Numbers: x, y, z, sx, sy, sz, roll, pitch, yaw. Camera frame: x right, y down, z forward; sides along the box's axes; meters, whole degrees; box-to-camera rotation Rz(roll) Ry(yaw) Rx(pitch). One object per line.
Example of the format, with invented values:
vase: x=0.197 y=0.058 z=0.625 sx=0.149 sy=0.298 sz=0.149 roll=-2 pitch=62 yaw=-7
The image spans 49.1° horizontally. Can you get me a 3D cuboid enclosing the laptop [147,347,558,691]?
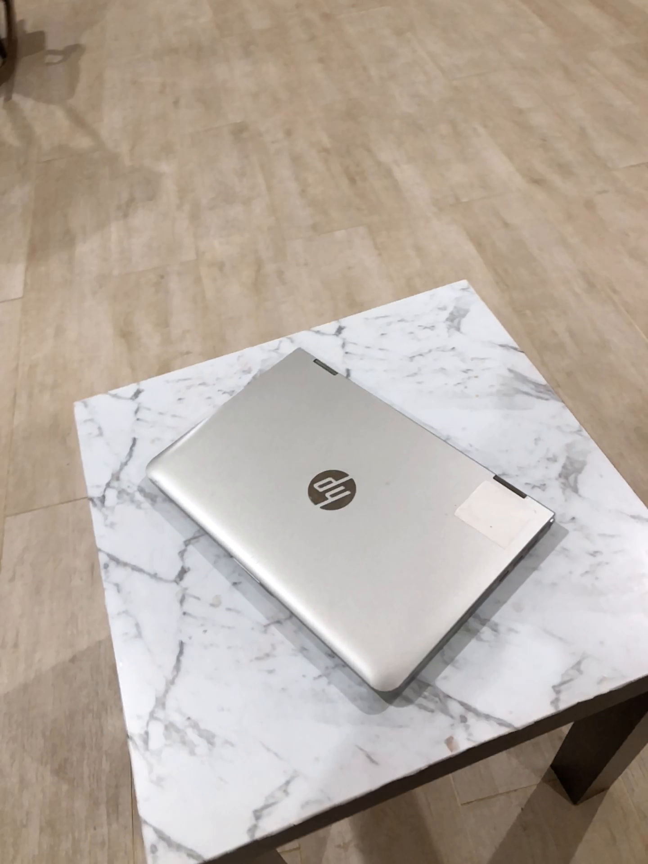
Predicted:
laptop: x=0.014 y=0.045 z=0.598 sx=0.293 sy=0.001 sz=0.197 roll=35 pitch=62 yaw=31
